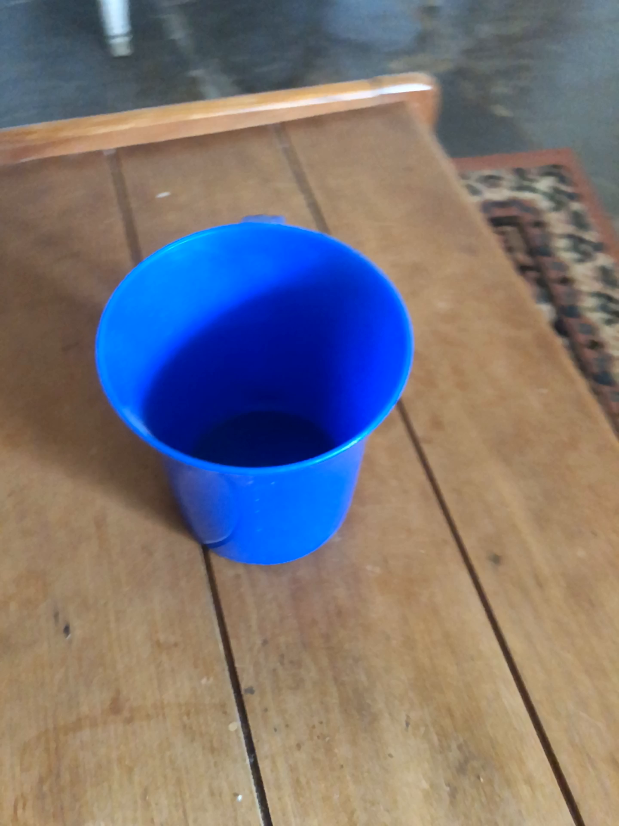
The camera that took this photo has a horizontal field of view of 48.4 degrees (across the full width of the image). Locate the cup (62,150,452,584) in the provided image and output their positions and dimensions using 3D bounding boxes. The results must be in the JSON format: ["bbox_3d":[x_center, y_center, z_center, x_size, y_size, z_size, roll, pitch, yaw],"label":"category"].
[{"bbox_3d":[-0.017,-0.014,0.251,0.100,0.099,0.121,0,59,-3],"label":"cup"}]
